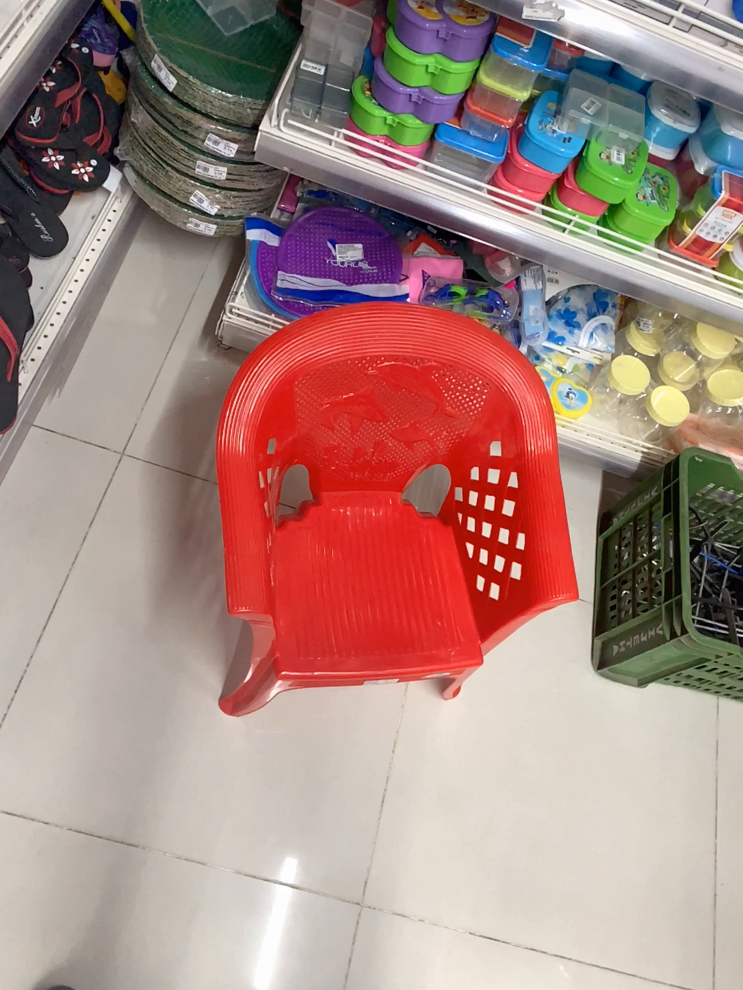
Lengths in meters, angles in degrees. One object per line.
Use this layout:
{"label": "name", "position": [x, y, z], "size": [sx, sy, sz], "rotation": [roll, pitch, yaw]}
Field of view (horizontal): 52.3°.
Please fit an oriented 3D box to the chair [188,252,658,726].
{"label": "chair", "position": [0.001, 0.033, 1.091], "size": [0.500, 0.479, 0.491], "rotation": [1, 65, -14]}
